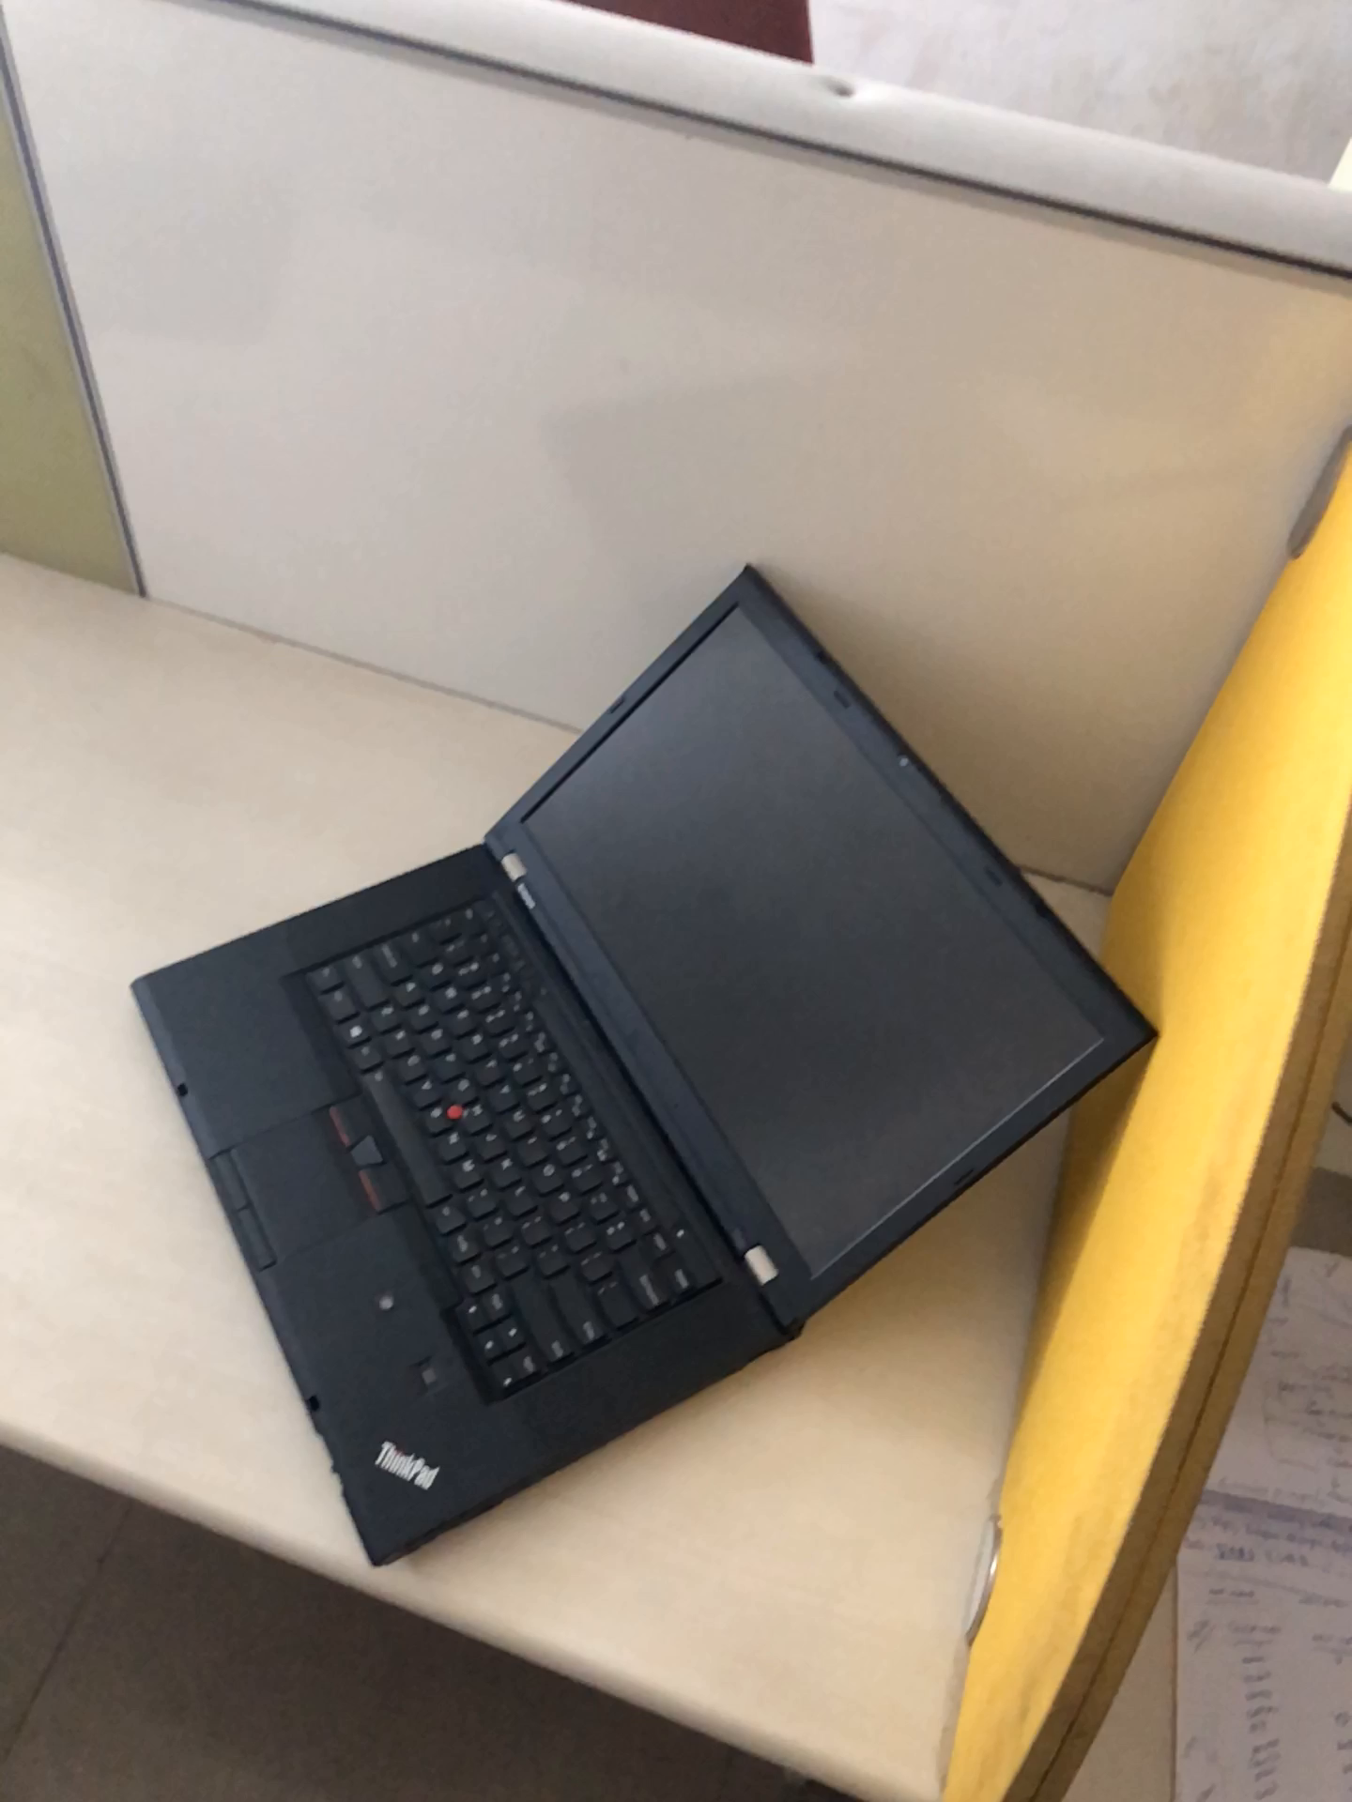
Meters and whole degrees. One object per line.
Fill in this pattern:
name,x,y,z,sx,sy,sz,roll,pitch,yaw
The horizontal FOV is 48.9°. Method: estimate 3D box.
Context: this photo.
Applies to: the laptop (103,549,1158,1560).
laptop,-0.035,0.051,0.794,0.418,0.143,0.354,-24,60,-18
